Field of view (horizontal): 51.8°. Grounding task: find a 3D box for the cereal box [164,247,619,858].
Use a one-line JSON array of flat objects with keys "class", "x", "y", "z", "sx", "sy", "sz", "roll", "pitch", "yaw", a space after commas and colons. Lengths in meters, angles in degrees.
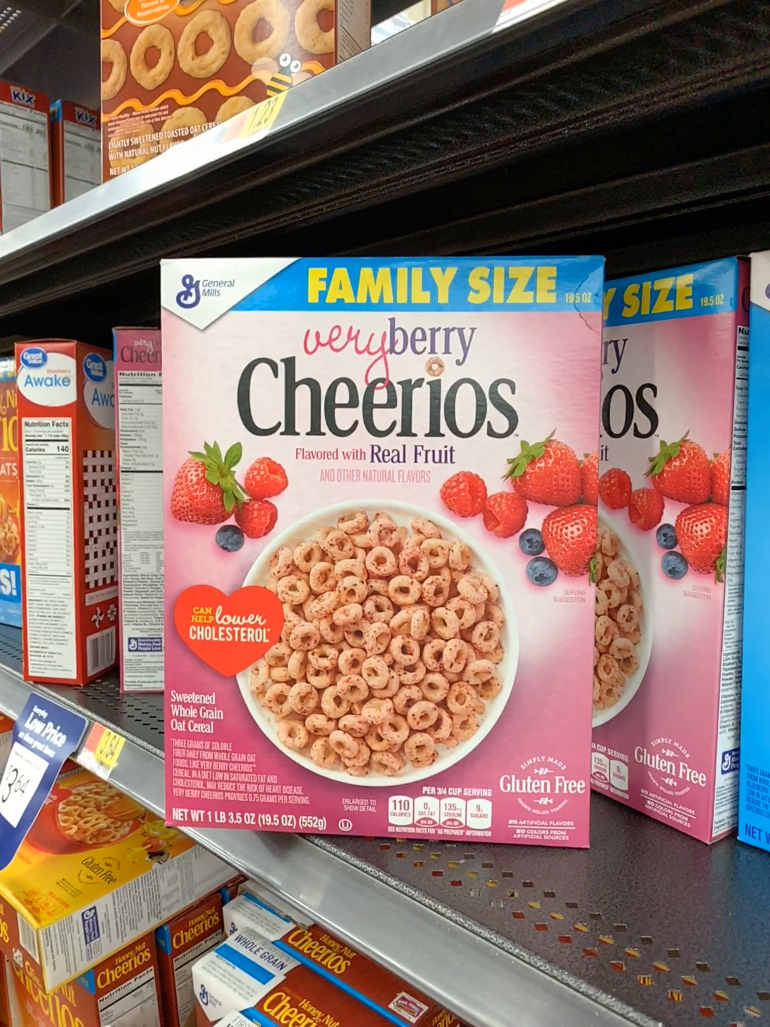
[{"class": "cereal box", "x": 0.001, "y": 0.019, "z": 0.455, "sx": 0.240, "sy": 0.320, "sz": 0.060, "roll": 1, "pitch": 3, "yaw": 5}]
